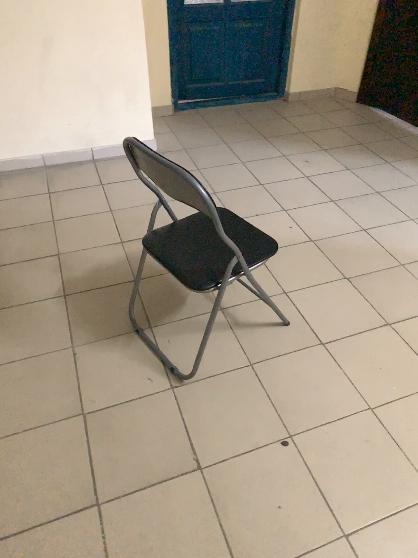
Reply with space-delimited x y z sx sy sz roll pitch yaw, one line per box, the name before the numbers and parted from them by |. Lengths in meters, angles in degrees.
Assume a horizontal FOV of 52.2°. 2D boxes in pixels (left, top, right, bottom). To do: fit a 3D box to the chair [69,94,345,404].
chair | -0.024 -0.125 1.460 0.561 0.726 0.572 -26 48 -27
